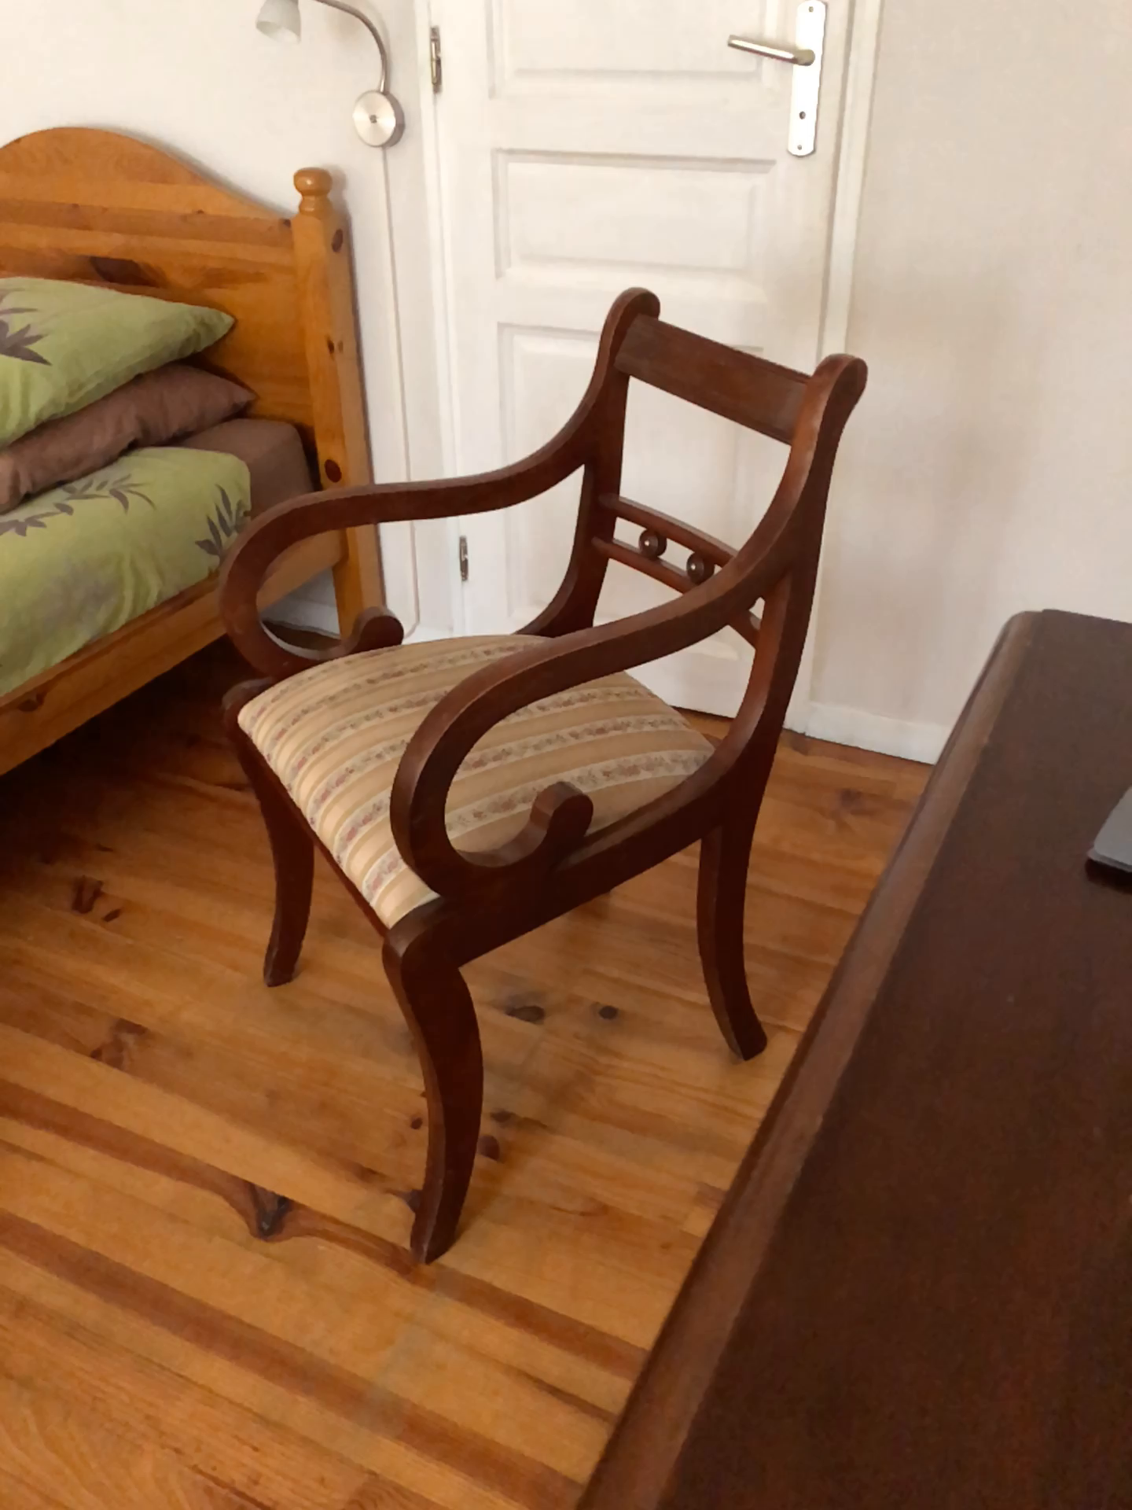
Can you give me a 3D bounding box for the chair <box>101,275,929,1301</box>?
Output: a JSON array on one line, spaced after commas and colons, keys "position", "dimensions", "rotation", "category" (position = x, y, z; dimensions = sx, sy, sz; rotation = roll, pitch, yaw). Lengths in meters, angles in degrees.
[{"position": [-0.082, -0.020, 1.346], "dimensions": [0.572, 0.825, 0.582], "rotation": [-15, 33, -24], "category": "chair"}]
